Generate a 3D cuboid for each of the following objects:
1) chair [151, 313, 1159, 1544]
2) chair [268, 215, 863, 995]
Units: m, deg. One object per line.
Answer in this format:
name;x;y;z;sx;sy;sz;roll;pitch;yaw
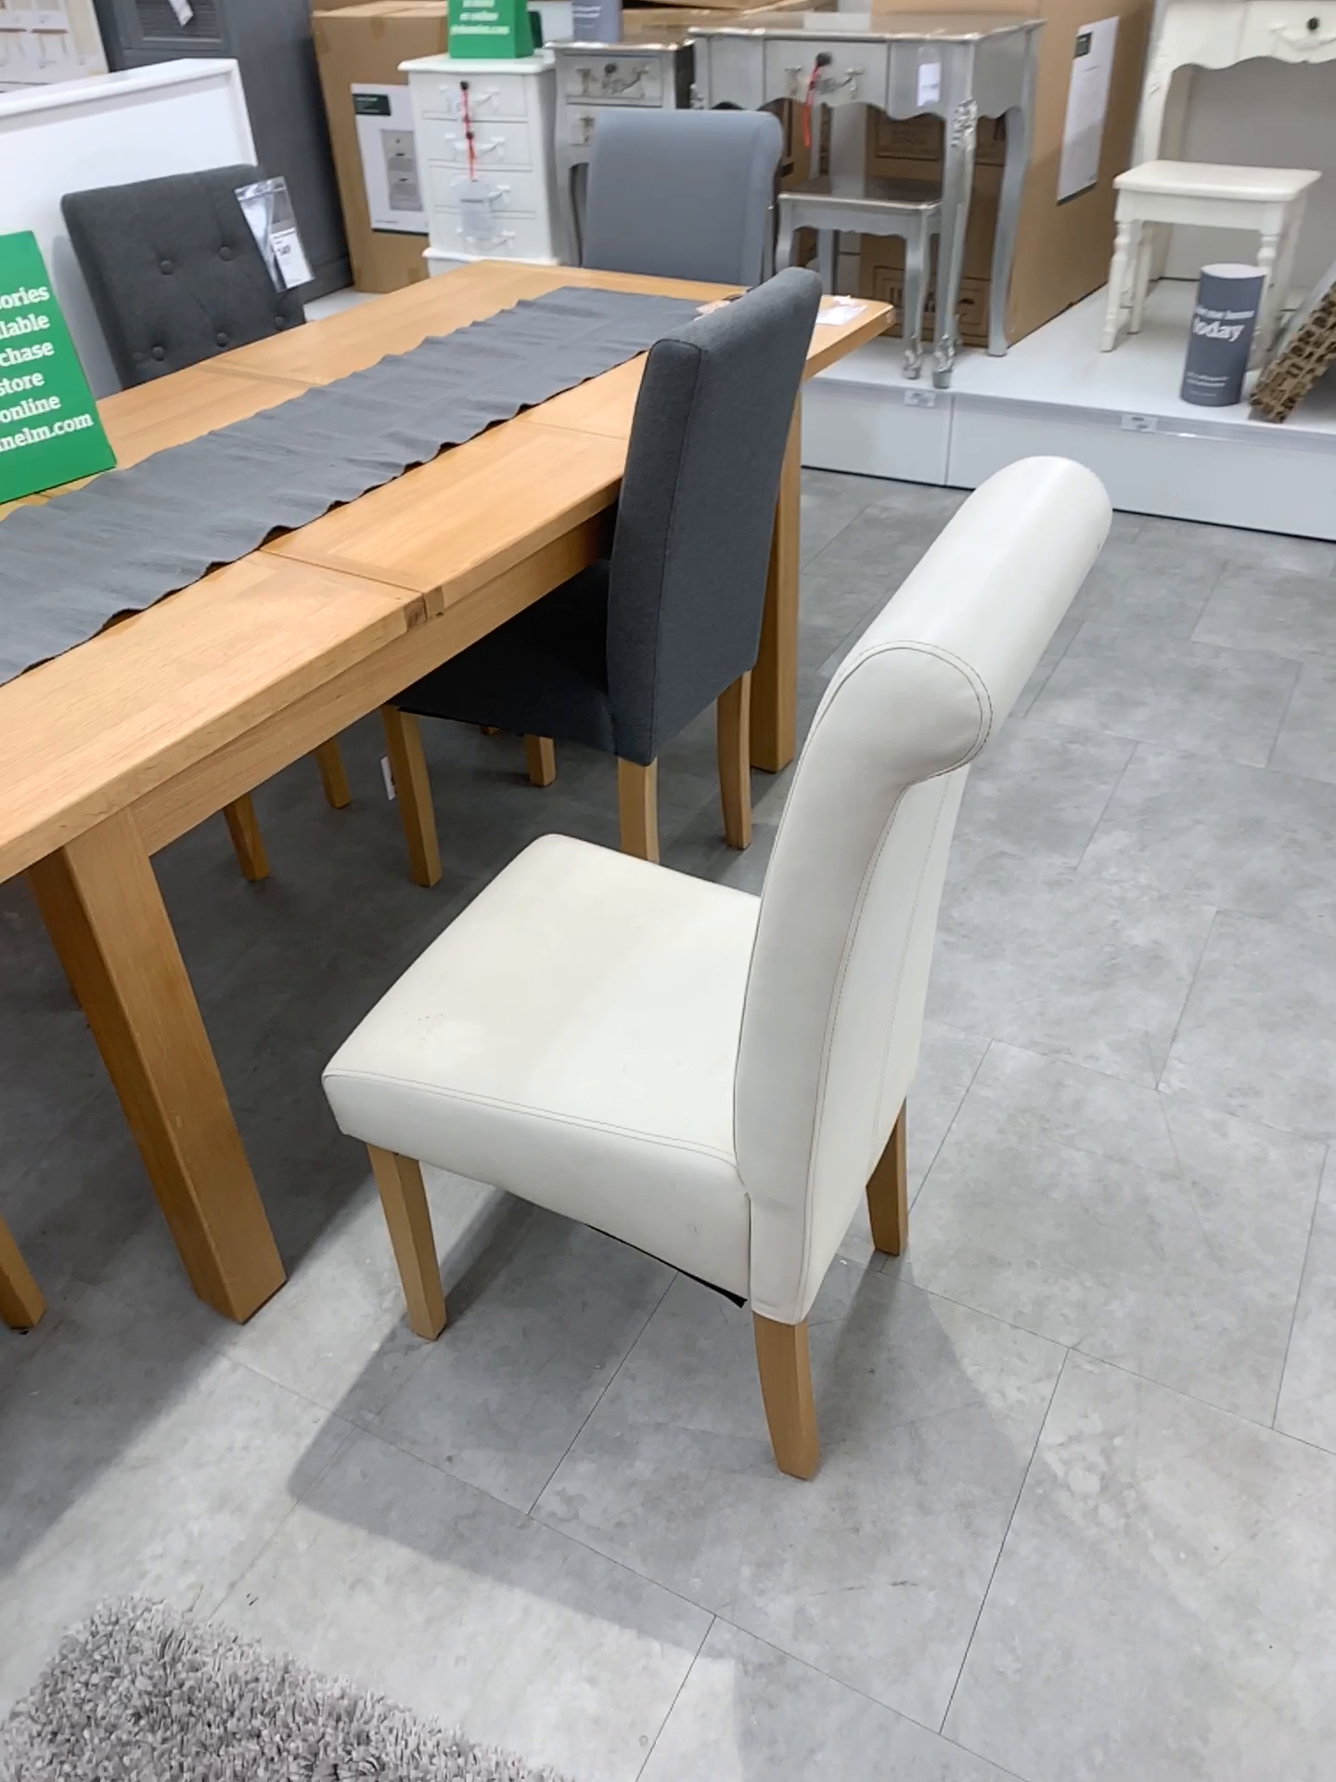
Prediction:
chair;0.038;0.030;1.298;0.592;0.935;0.517;14;40;22
chair;-0.099;-0.421;1.980;0.583;0.905;0.487;17;41;24
